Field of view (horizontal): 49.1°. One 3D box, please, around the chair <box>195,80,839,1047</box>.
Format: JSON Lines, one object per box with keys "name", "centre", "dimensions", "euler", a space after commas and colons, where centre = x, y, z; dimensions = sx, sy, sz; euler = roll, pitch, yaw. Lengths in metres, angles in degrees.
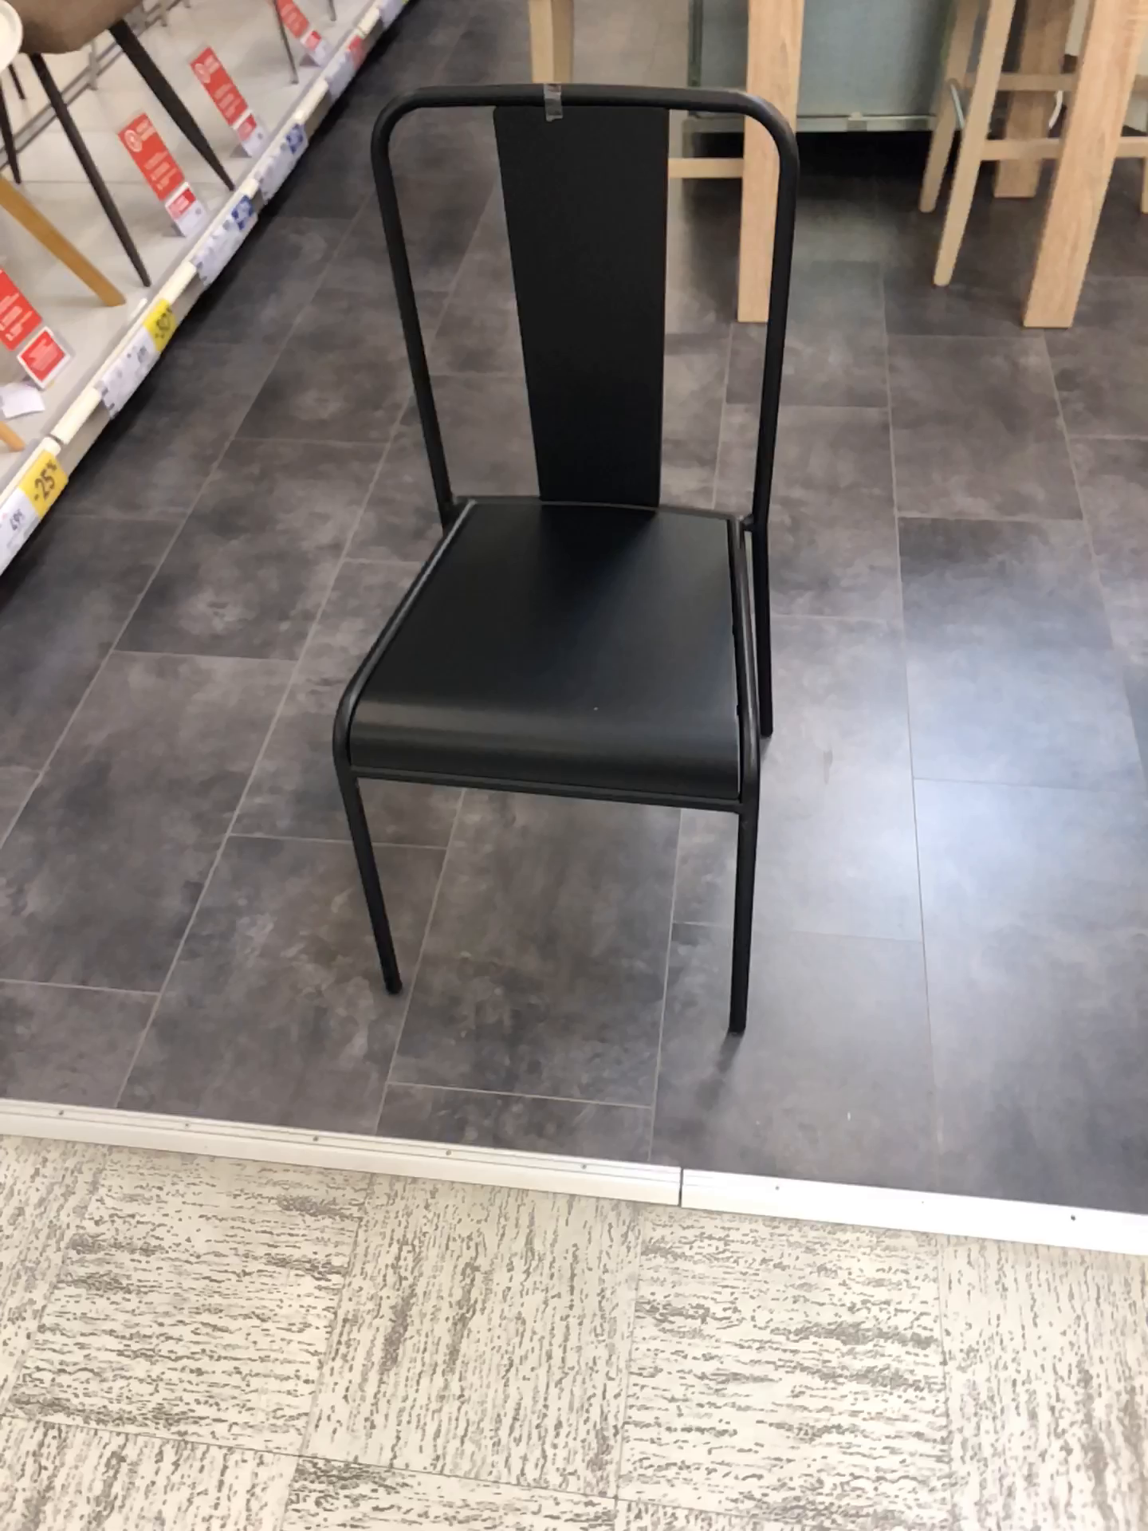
{"name": "chair", "centre": [0.011, -0.185, 1.336], "dimensions": [0.440, 0.816, 0.573], "euler": [3, 47, 7]}
